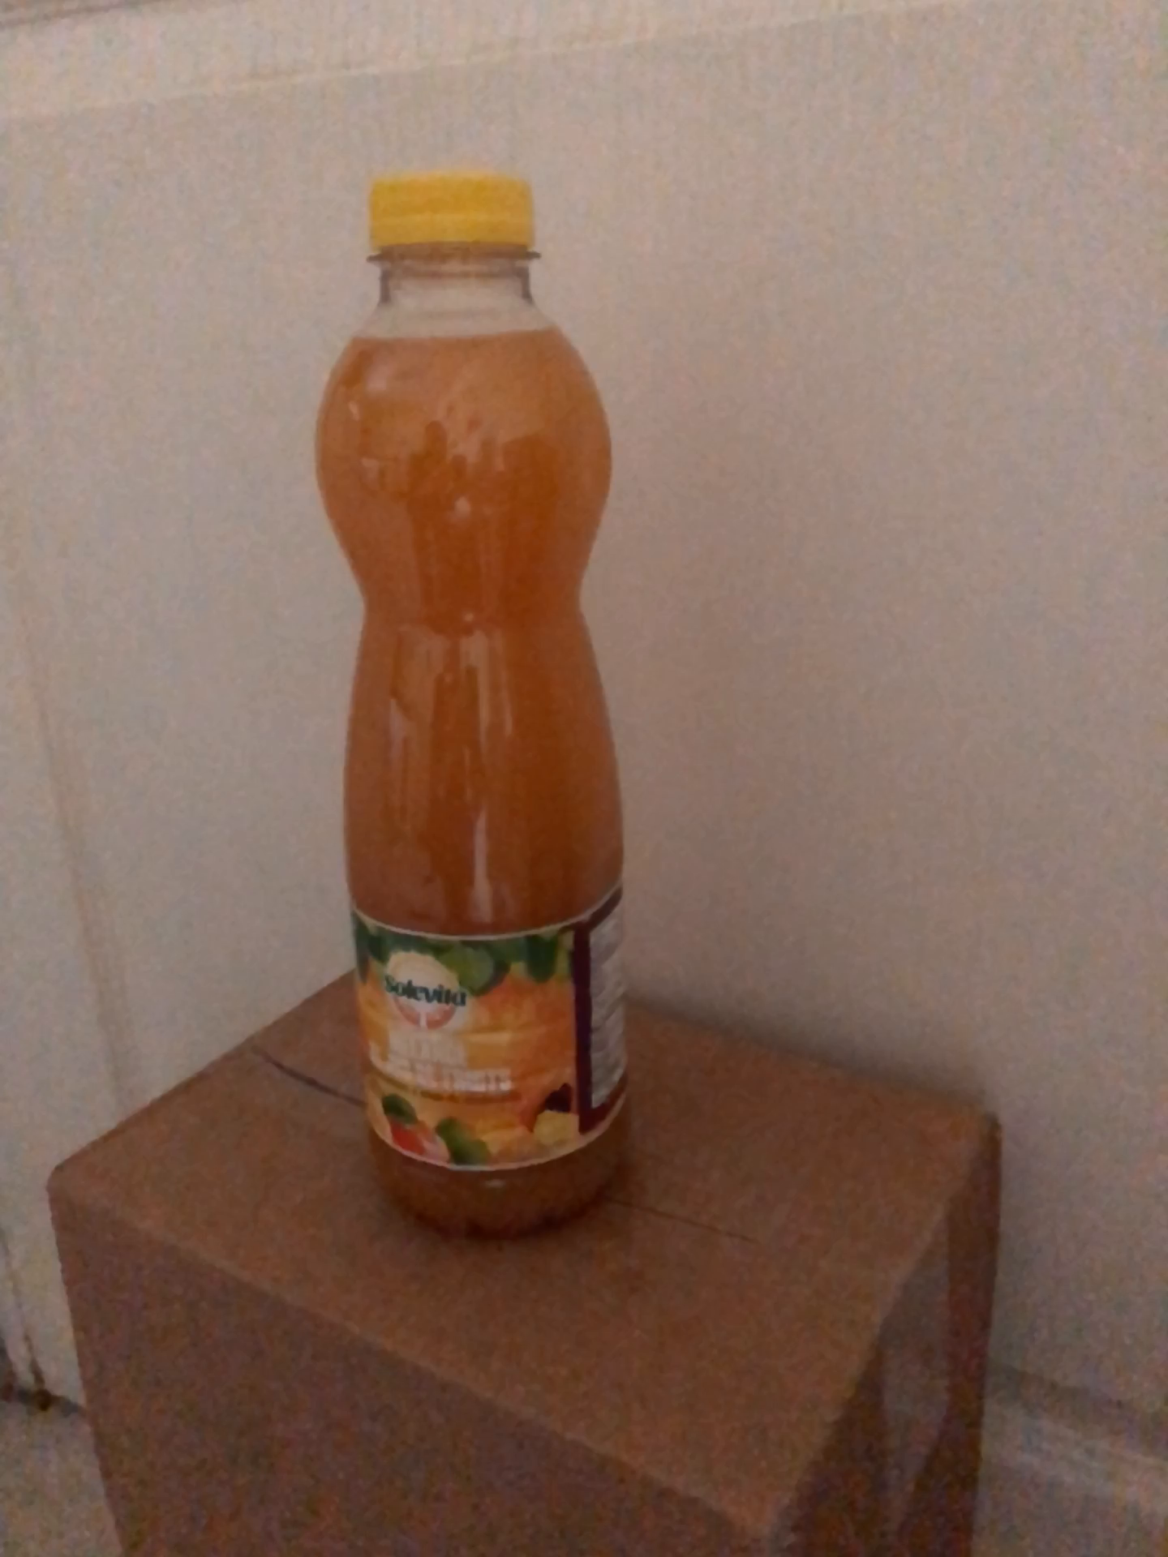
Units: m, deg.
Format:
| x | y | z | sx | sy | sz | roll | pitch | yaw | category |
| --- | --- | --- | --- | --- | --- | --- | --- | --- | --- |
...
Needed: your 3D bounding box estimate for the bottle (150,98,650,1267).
| x | y | z | sx | sy | sz | roll | pitch | yaw | category |
| --- | --- | --- | --- | --- | --- | --- | --- | --- | --- |
| -0.034 | -0.017 | 0.340 | 0.080 | 0.279 | 0.080 | -2 | 22 | 1 | bottle |
